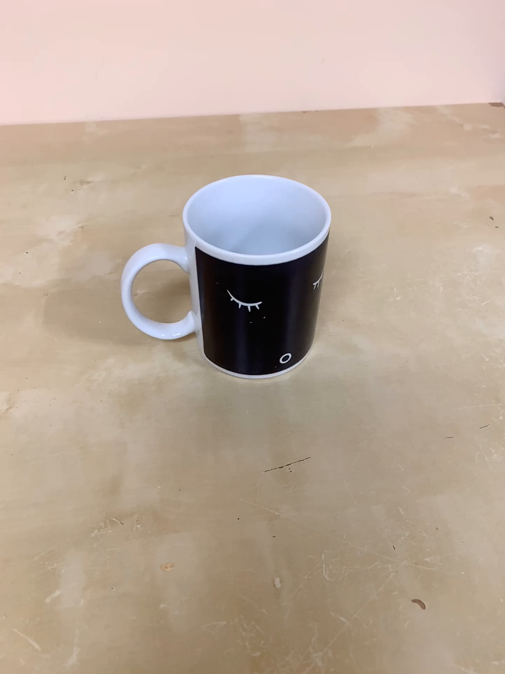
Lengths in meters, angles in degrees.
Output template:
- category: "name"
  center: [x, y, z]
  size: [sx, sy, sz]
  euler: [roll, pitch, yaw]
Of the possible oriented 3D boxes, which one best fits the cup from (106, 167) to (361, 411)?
- category: "cup"
  center: [-0.016, -0.030, 0.314]
  size: [0.121, 0.101, 0.084]
  euler: [-9, 47, -11]
